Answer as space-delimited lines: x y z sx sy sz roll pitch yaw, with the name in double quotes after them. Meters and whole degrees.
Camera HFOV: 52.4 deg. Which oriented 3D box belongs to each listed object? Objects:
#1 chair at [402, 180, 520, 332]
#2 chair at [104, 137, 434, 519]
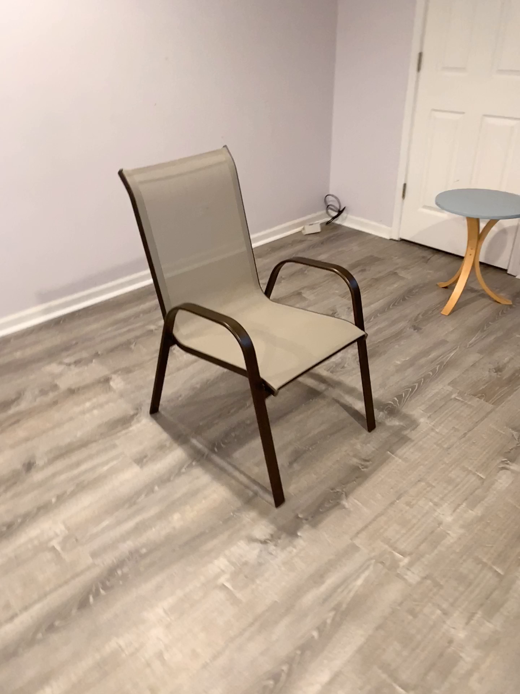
1.017 -0.453 2.528 0.436 0.526 0.426 26 40 37 "chair"
0.017 -0.120 1.675 0.717 0.873 0.567 26 40 37 "chair"
